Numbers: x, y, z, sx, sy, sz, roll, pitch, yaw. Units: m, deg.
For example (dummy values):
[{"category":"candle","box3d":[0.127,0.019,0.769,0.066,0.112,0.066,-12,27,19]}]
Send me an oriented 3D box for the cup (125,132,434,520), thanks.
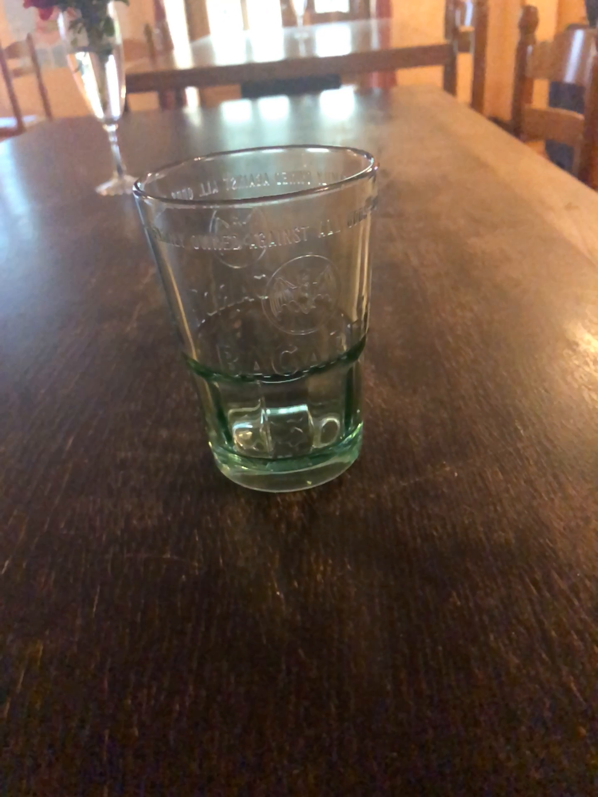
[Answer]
[{"category":"cup","box3d":[-0.004,-0.030,0.241,0.083,0.103,0.089,-5,30,3]}]
